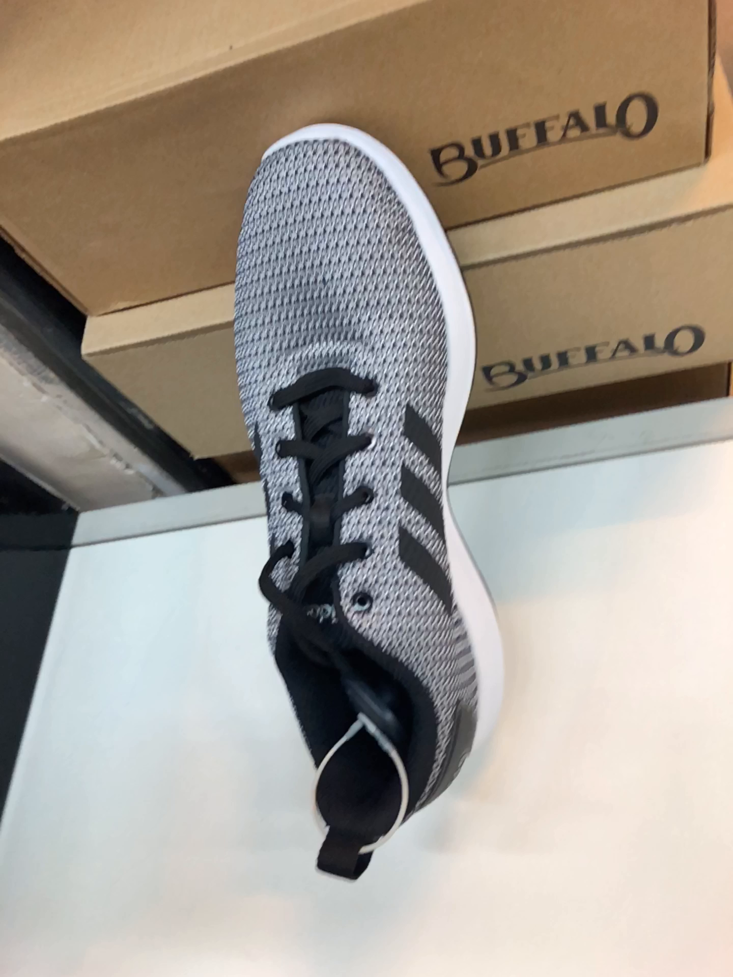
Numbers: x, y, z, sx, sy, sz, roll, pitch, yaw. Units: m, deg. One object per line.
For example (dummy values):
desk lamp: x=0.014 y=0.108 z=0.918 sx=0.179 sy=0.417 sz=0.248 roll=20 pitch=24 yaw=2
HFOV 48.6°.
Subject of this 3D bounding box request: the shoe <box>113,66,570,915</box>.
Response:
shoe: x=0.000 y=0.006 z=0.331 sx=0.112 sy=0.099 sz=0.282 roll=-7 pitch=96 yaw=24
